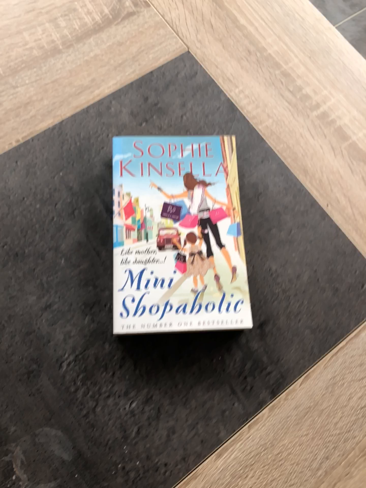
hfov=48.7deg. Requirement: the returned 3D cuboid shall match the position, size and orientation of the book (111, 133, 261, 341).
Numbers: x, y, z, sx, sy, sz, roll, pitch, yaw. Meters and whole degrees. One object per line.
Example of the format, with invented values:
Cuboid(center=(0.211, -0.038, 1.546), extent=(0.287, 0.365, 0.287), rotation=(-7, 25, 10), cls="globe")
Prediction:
Cuboid(center=(-0.002, -0.011, 0.399), extent=(0.132, 0.036, 0.200), rotation=(-2, 73, -4), cls="book")
